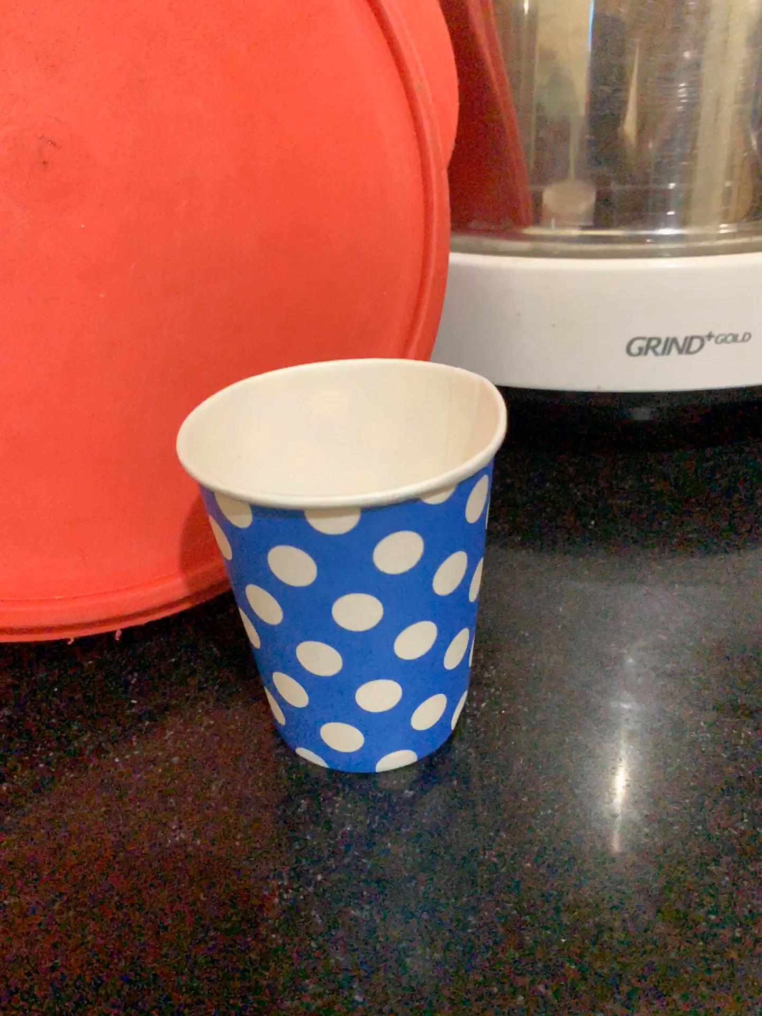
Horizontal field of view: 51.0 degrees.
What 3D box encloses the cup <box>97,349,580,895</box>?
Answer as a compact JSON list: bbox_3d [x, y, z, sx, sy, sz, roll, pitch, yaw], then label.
[{"bbox_3d":[-0.005,0.018,0.182,0.070,0.079,0.070,-3,29,2],"label":"cup"}]
